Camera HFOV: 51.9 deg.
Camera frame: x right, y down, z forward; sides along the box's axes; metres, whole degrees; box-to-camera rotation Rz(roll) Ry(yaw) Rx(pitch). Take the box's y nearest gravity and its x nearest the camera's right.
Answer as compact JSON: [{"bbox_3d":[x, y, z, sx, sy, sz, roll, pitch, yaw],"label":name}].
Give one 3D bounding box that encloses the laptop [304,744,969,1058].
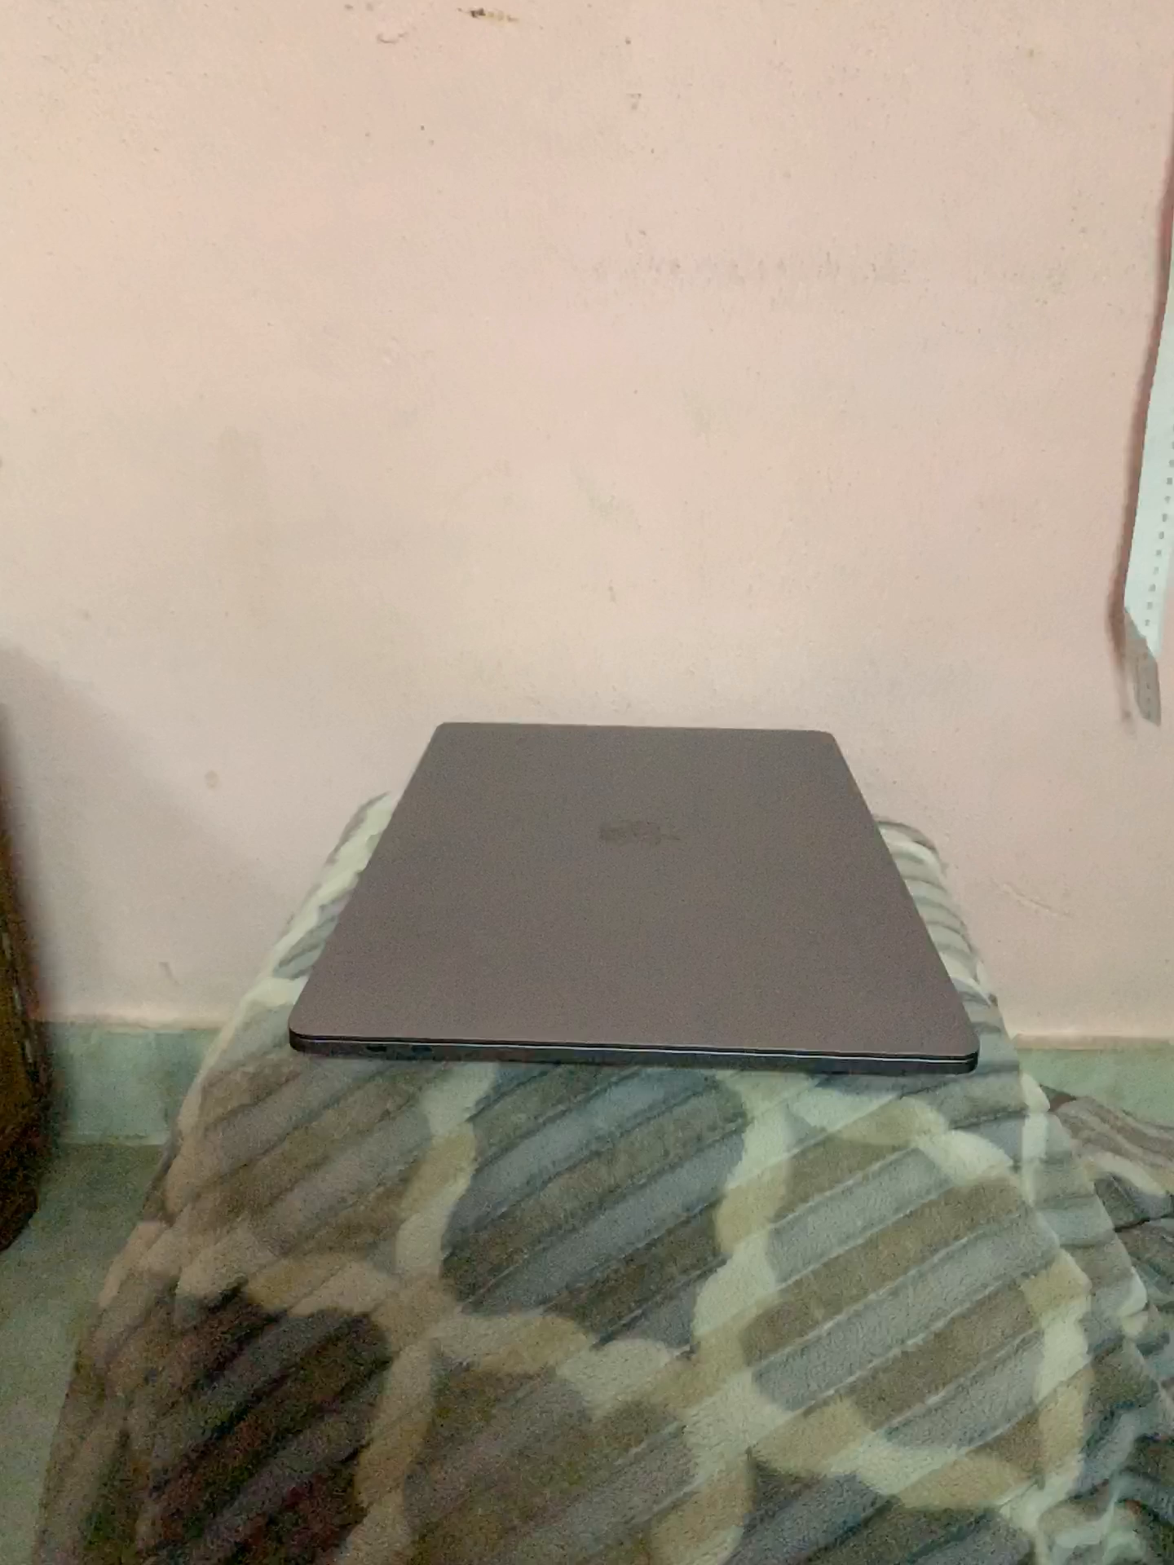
[{"bbox_3d":[0.025,0.034,0.567,0.228,0.002,0.327,1,19,4],"label":"laptop"}]
